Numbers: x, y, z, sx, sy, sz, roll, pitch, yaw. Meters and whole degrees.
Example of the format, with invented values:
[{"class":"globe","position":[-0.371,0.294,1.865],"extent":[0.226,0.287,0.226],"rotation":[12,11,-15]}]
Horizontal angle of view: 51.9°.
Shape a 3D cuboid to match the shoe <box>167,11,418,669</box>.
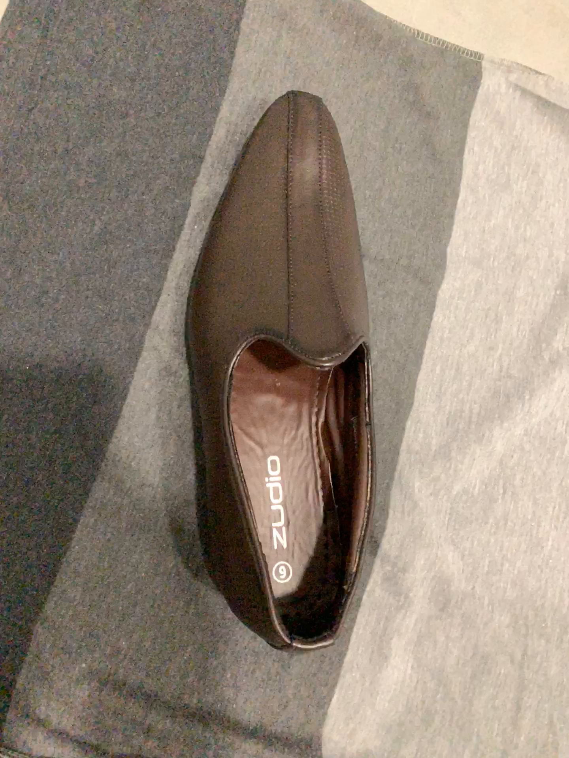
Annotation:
[{"class":"shoe","position":[-0.002,-0.017,0.295],"extent":[0.100,0.100,0.270],"rotation":[2,83,-12]}]
